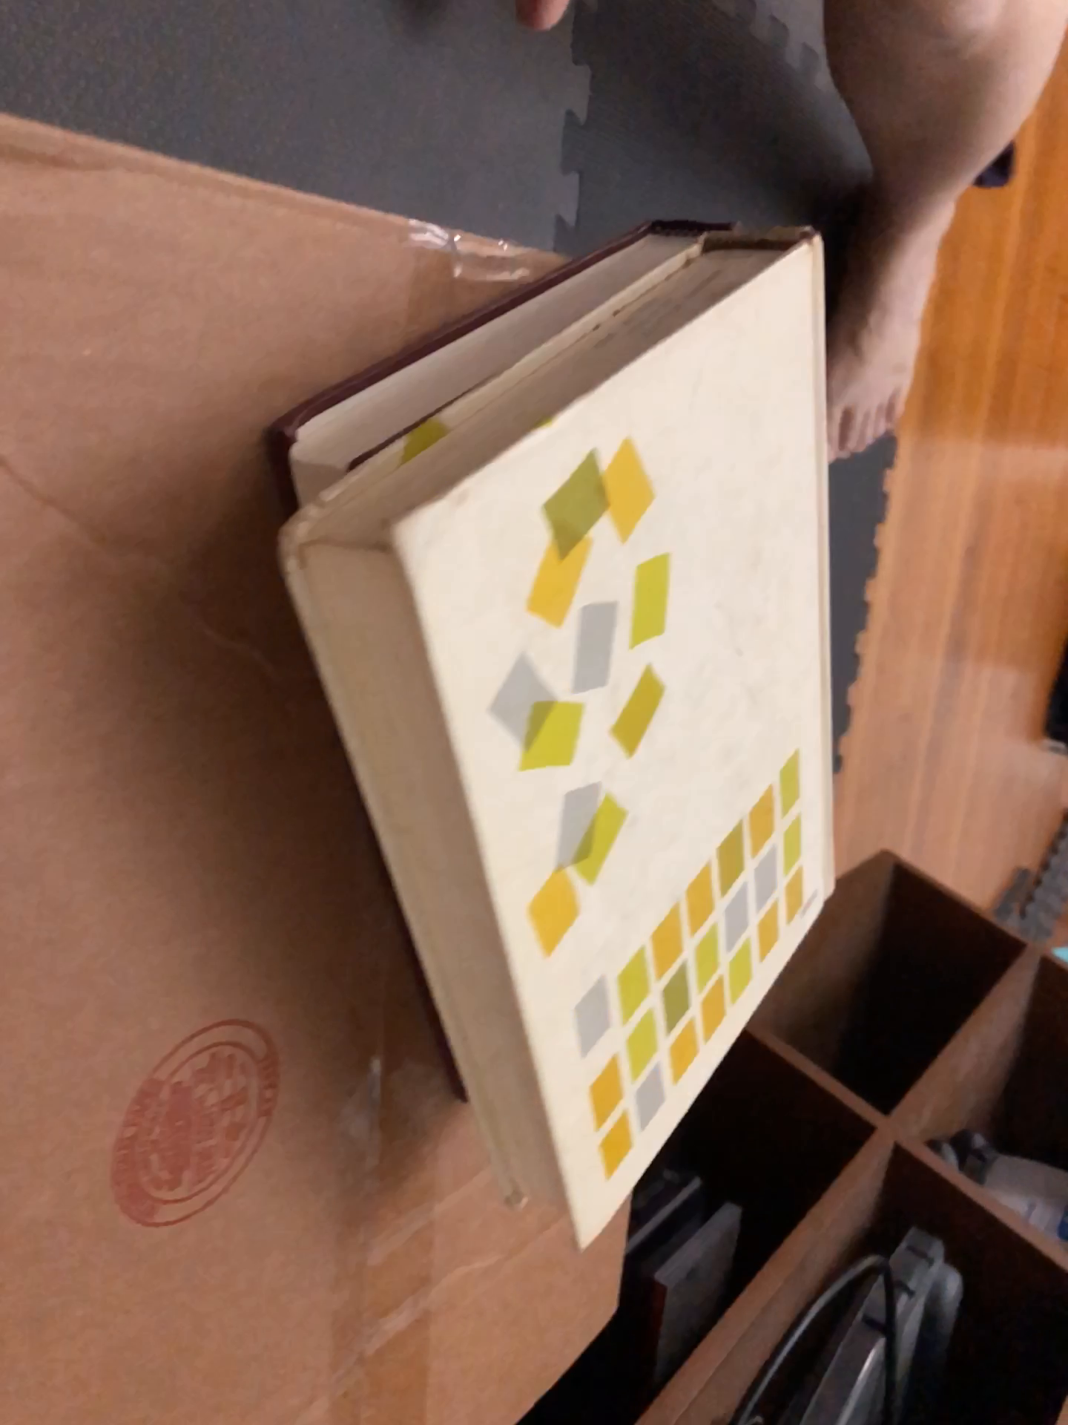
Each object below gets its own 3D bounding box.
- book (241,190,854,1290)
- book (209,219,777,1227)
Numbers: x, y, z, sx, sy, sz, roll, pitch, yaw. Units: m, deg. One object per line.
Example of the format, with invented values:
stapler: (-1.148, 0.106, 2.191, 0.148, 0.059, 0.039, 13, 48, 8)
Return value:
book: (0.033, 0.013, 0.333, 0.181, 0.040, 0.250, -45, 139, -37)
book: (0.016, 0.005, 0.363, 0.181, 0.040, 0.250, -43, 137, -39)
